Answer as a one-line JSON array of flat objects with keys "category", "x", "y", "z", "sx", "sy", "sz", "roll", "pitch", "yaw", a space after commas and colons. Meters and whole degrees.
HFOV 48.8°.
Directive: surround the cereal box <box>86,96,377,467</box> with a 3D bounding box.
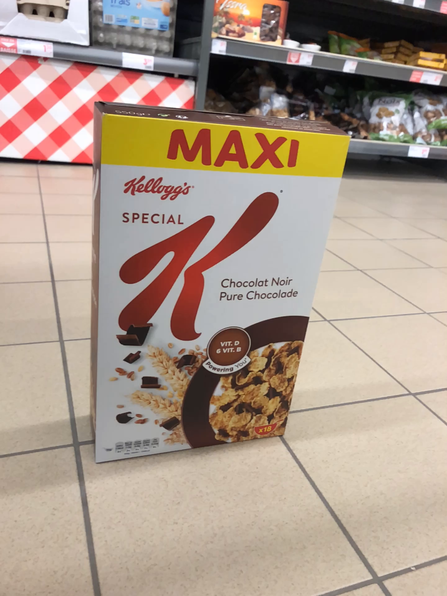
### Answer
[{"category": "cereal box", "x": -0.009, "y": -0.005, "z": 0.438, "sx": 0.211, "sy": 0.298, "sz": 0.070, "roll": -2, "pitch": 27, "yaw": -21}]
